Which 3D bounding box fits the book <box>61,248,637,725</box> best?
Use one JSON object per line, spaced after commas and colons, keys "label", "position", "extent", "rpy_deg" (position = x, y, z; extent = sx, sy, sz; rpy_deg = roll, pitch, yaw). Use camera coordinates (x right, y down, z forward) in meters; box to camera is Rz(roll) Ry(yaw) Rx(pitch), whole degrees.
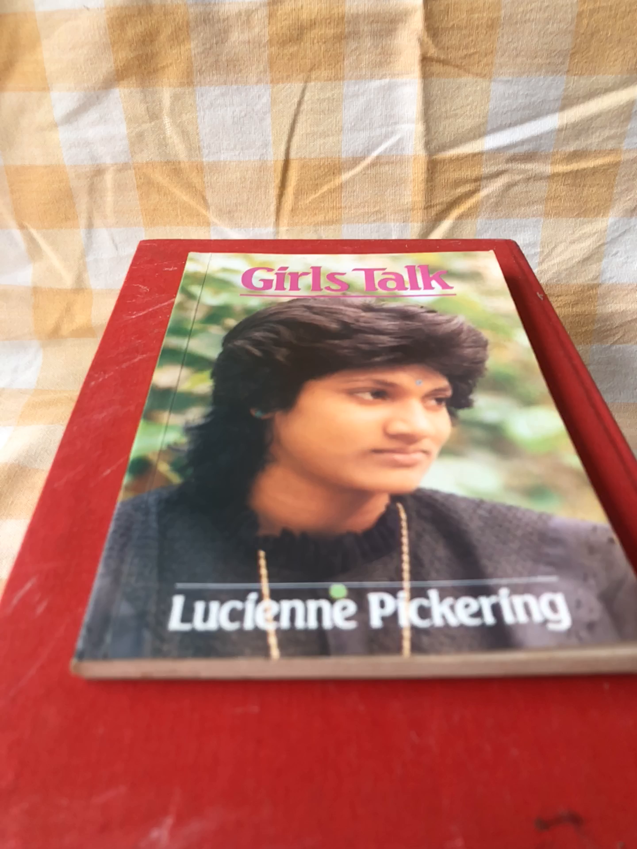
{"label": "book", "position": [0.011, -0.001, 0.223], "extent": [0.130, 0.025, 0.183], "rpy_deg": [0, 41, -1]}

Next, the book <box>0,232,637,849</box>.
{"label": "book", "position": [0.009, 0.007, 0.226], "extent": [0.174, 0.031, 0.250], "rpy_deg": [-1, 40, -2]}
